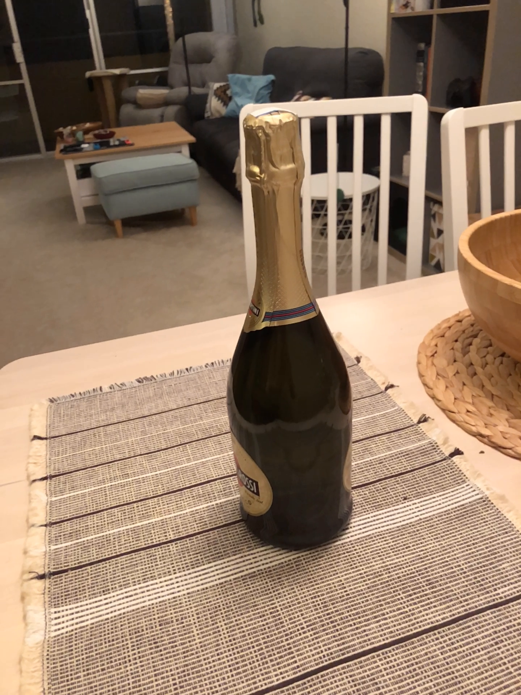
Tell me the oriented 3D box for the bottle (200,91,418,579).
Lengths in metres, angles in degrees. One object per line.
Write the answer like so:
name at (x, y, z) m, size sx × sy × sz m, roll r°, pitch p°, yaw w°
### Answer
bottle at (0.030, 0.002, 0.390) m, size 0.100 × 0.308 × 0.101 m, roll -3°, pitch 29°, yaw 2°
